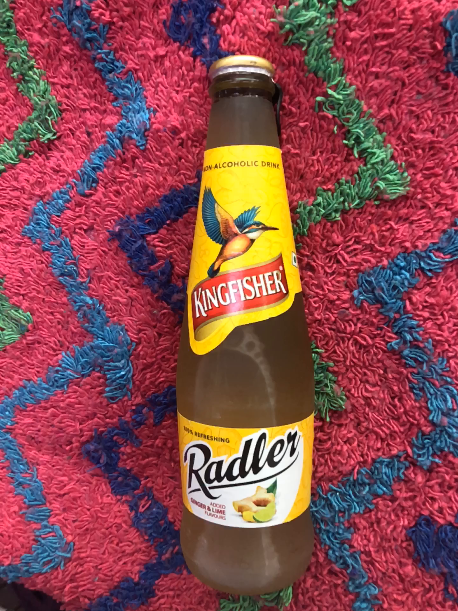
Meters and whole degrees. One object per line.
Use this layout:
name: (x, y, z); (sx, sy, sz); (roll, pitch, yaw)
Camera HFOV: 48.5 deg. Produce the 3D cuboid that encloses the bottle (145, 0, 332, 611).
bottle: (0.008, 0.003, 0.208); (0.060, 0.060, 0.210); (1, 95, 15)
